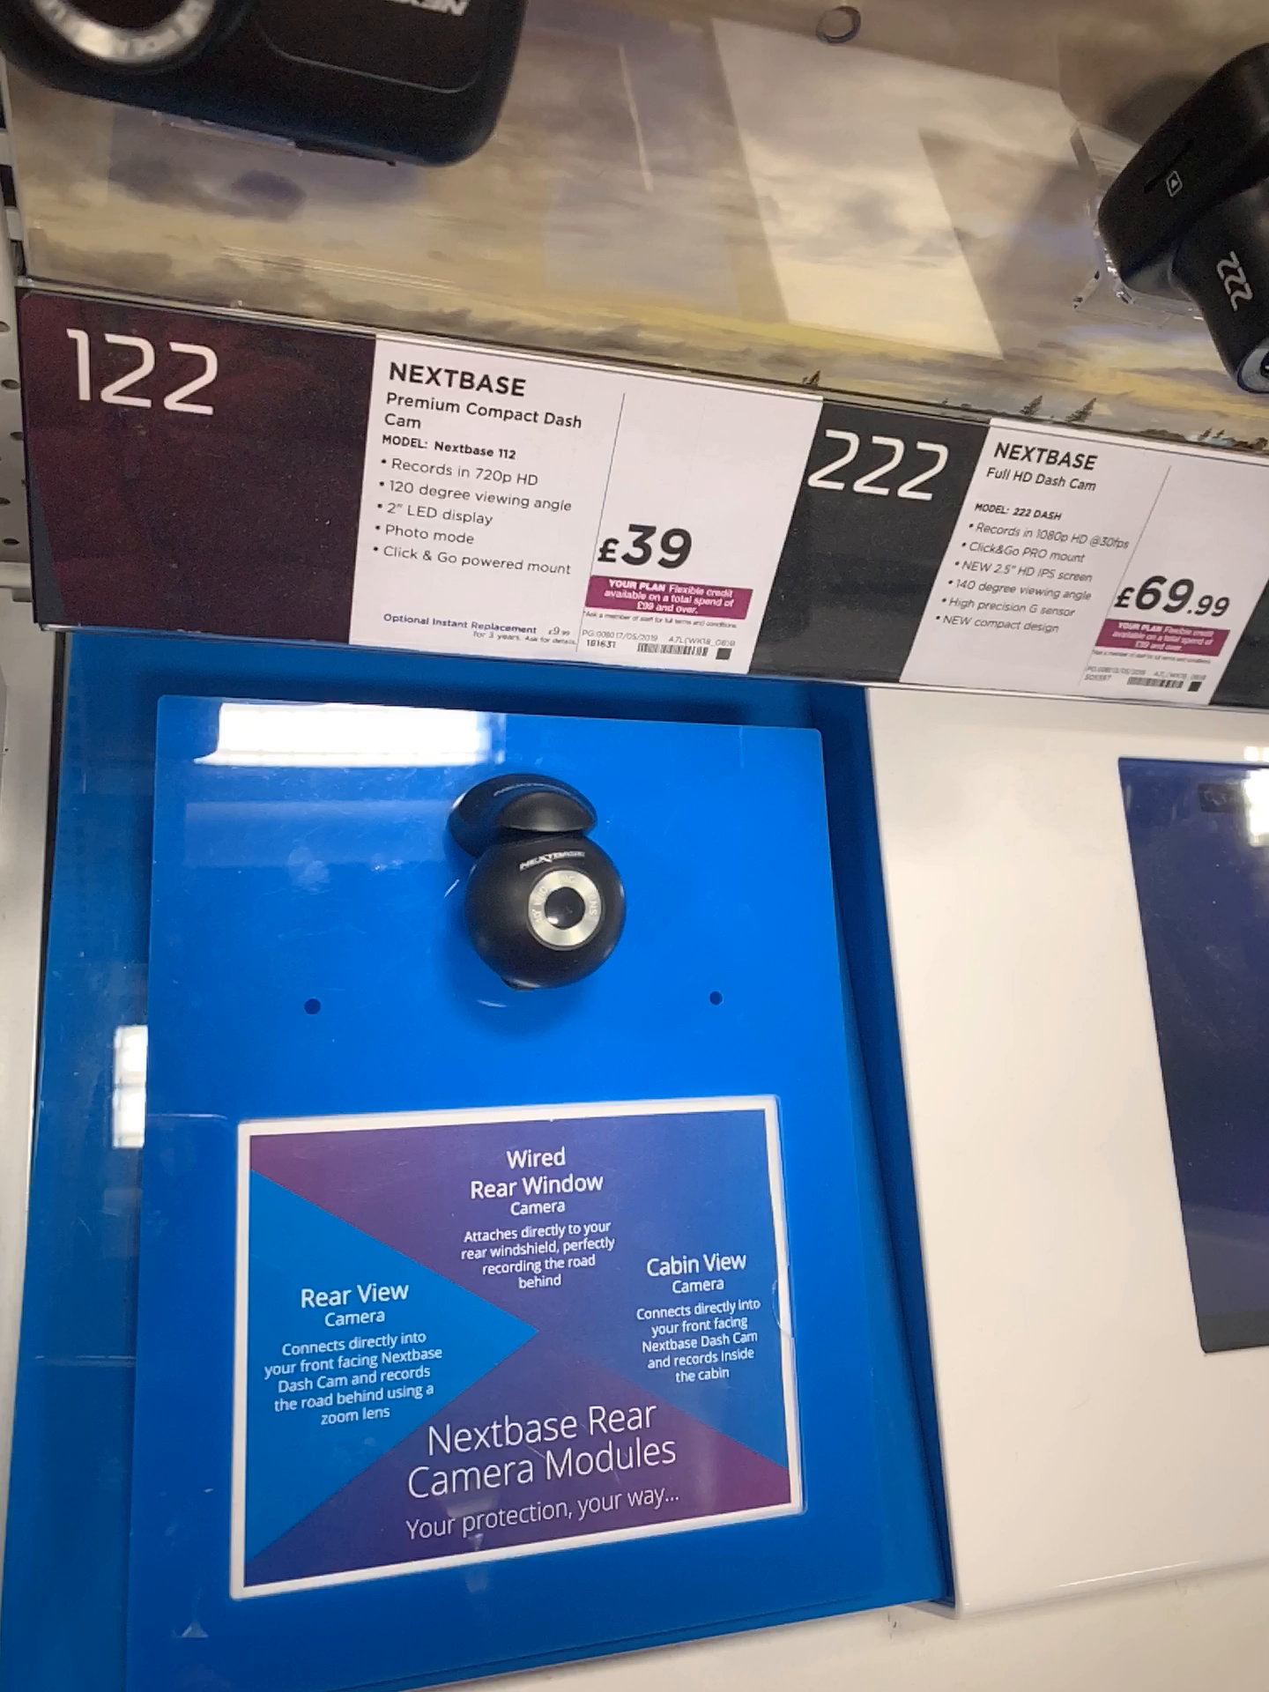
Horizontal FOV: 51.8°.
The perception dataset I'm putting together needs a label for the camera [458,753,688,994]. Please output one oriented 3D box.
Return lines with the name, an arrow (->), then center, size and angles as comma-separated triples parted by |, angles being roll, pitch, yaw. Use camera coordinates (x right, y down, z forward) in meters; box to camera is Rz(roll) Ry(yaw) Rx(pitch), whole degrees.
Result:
camera -> -0.016, 0.008, 0.300 | 0.040, 0.050, 0.050 | 1, 84, -18
